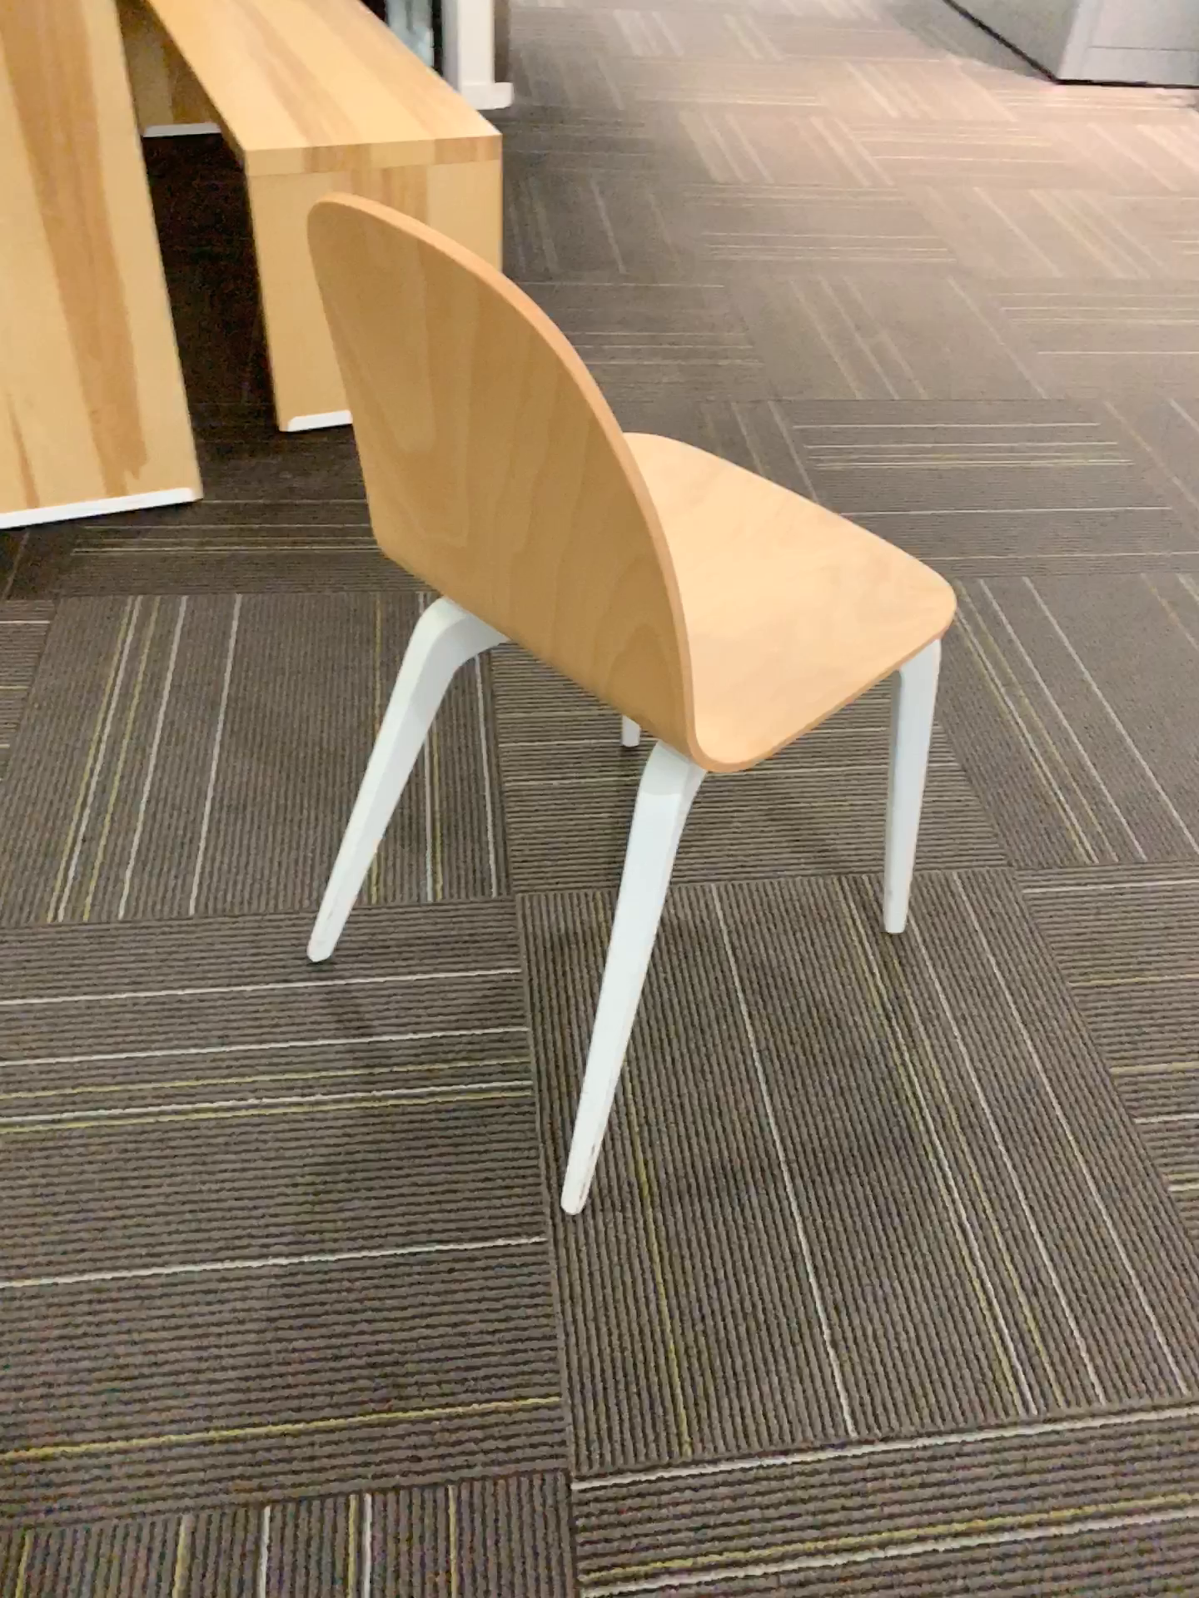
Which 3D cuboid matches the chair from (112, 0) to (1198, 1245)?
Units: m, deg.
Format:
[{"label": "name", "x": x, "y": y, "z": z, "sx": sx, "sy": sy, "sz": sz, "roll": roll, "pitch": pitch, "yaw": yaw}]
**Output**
[{"label": "chair", "x": 0.046, "y": -0.151, "z": 1.062, "sx": 0.571, "sy": 0.825, "sz": 0.462, "roll": -33, "pitch": 56, "yaw": -32}]
